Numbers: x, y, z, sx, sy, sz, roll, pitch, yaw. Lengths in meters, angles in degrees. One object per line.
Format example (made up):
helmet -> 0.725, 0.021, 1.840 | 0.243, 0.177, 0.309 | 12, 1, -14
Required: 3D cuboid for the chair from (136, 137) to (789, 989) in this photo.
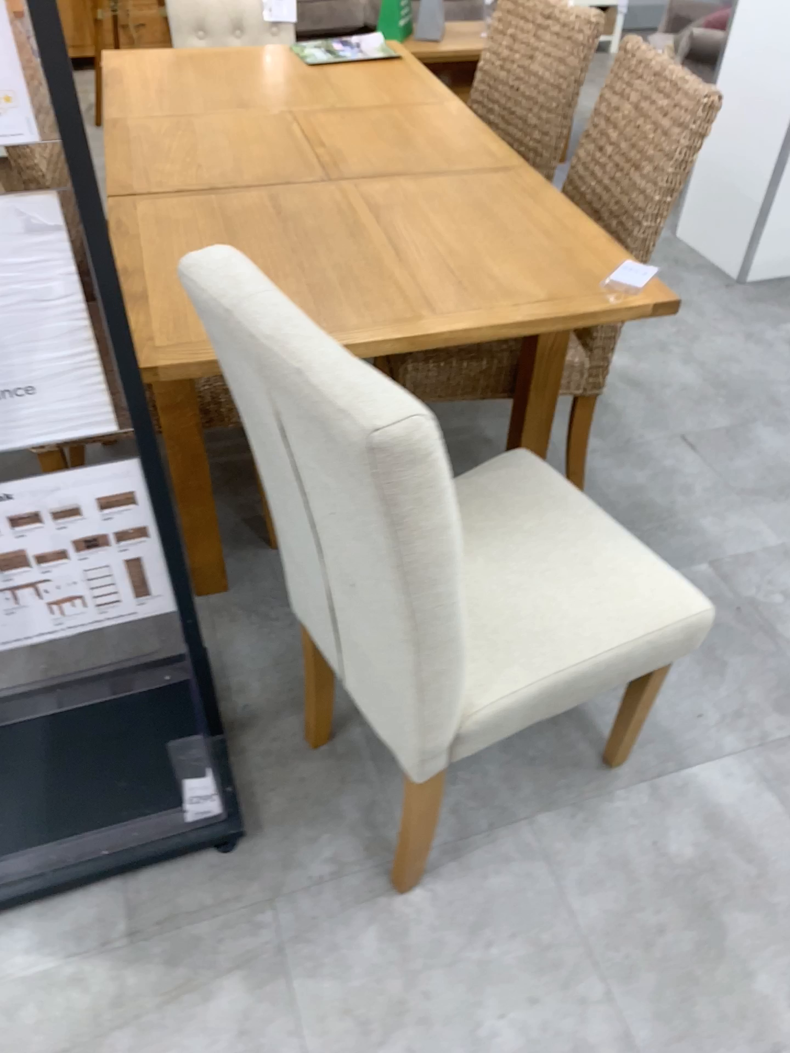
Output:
chair -> 0.112, 0.068, 1.090 | 0.611, 0.896, 0.482 | -22, 48, -24
